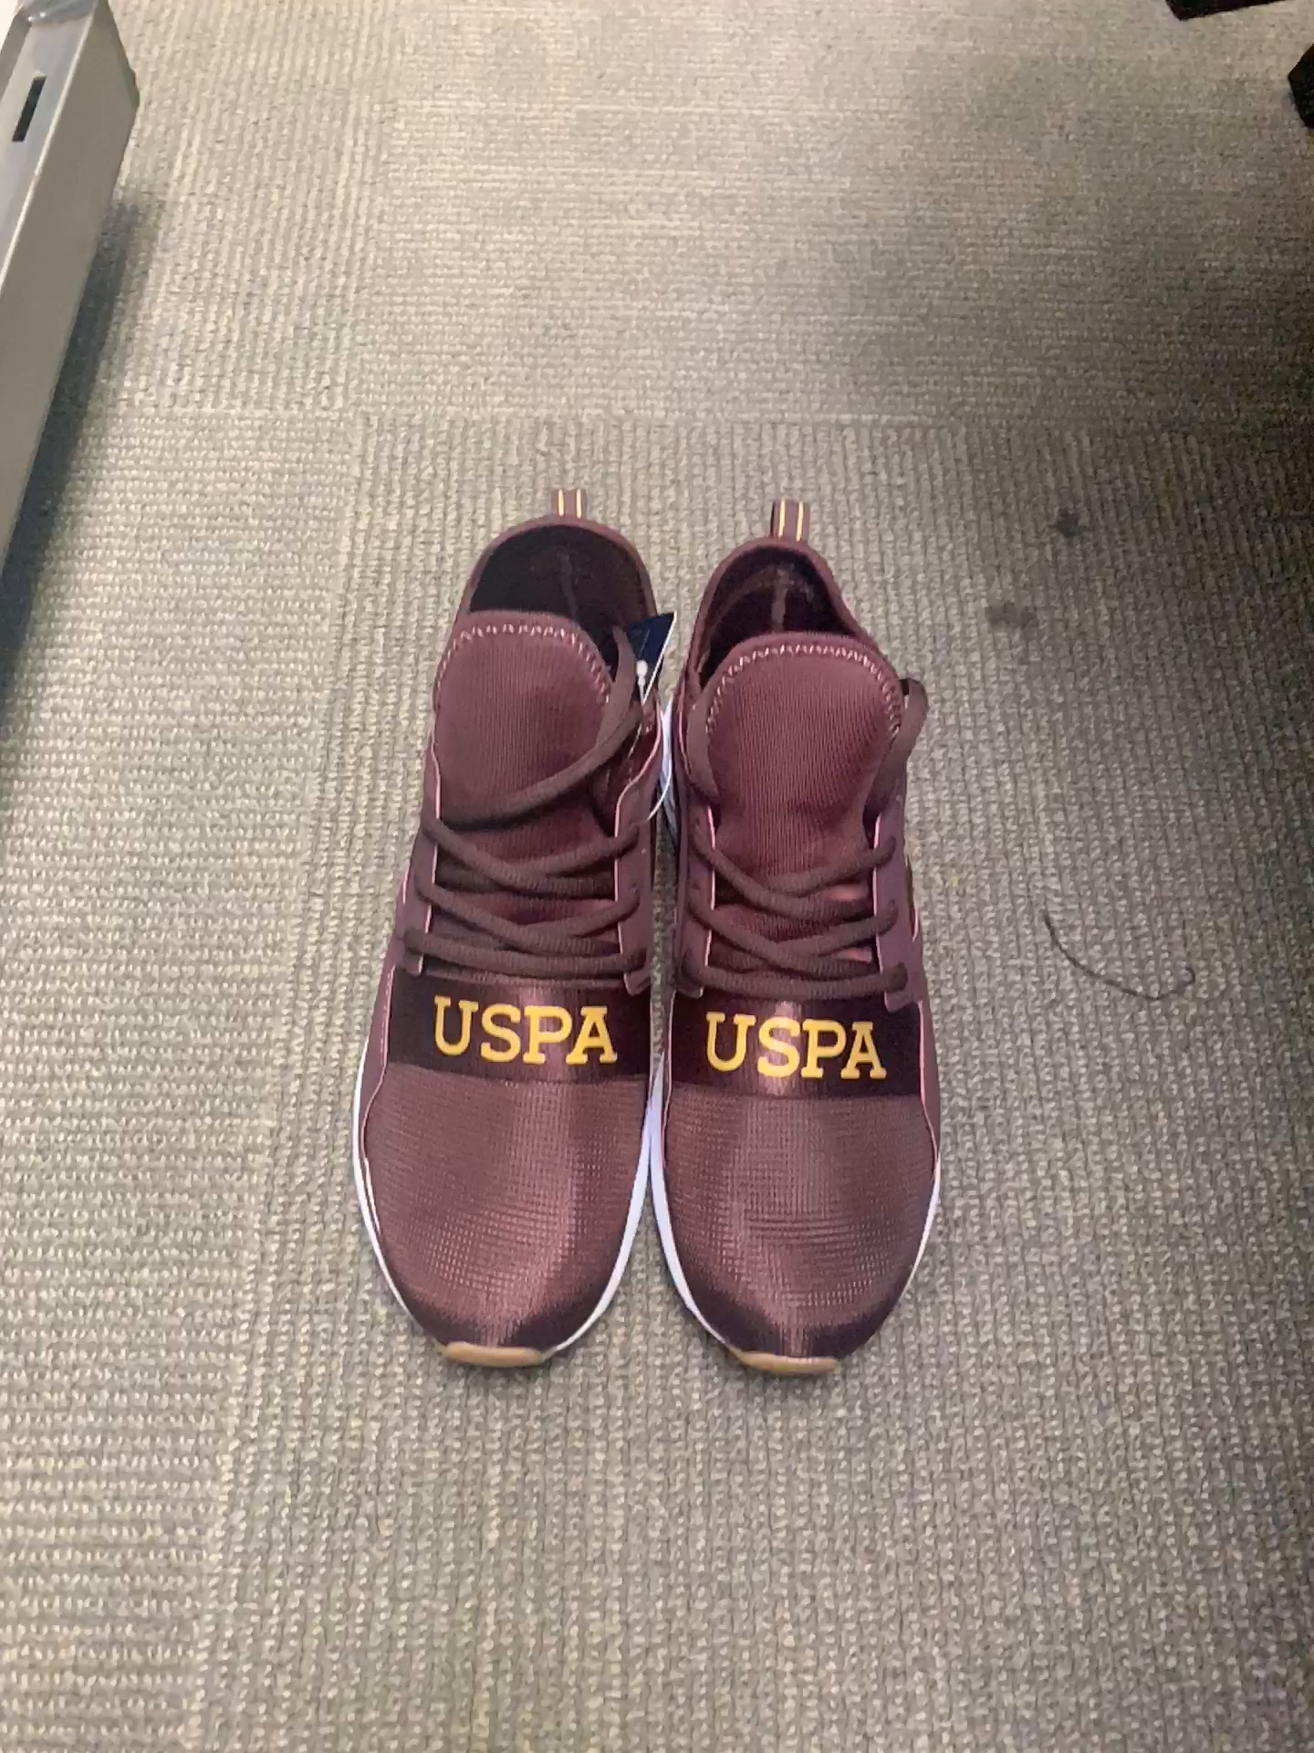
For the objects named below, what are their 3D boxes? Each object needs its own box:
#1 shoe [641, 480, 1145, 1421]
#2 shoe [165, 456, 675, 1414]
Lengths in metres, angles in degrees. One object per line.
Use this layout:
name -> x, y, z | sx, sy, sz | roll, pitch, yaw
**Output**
shoe -> 0.052, 0.027, 0.405 | 0.103, 0.149, 0.241 | 2, 63, -1
shoe -> -0.051, 0.023, 0.405 | 0.103, 0.156, 0.243 | 2, 63, -1
